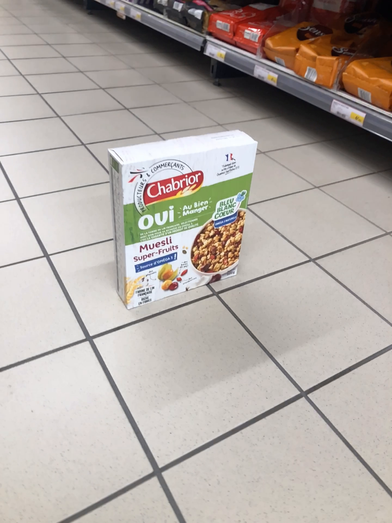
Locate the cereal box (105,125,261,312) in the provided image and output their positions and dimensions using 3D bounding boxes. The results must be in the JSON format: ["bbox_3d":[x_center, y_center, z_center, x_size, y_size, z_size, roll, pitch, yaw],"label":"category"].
[{"bbox_3d":[-0.021,-0.059,0.608,0.191,0.229,0.060,-16,42,-26],"label":"cereal box"}]
